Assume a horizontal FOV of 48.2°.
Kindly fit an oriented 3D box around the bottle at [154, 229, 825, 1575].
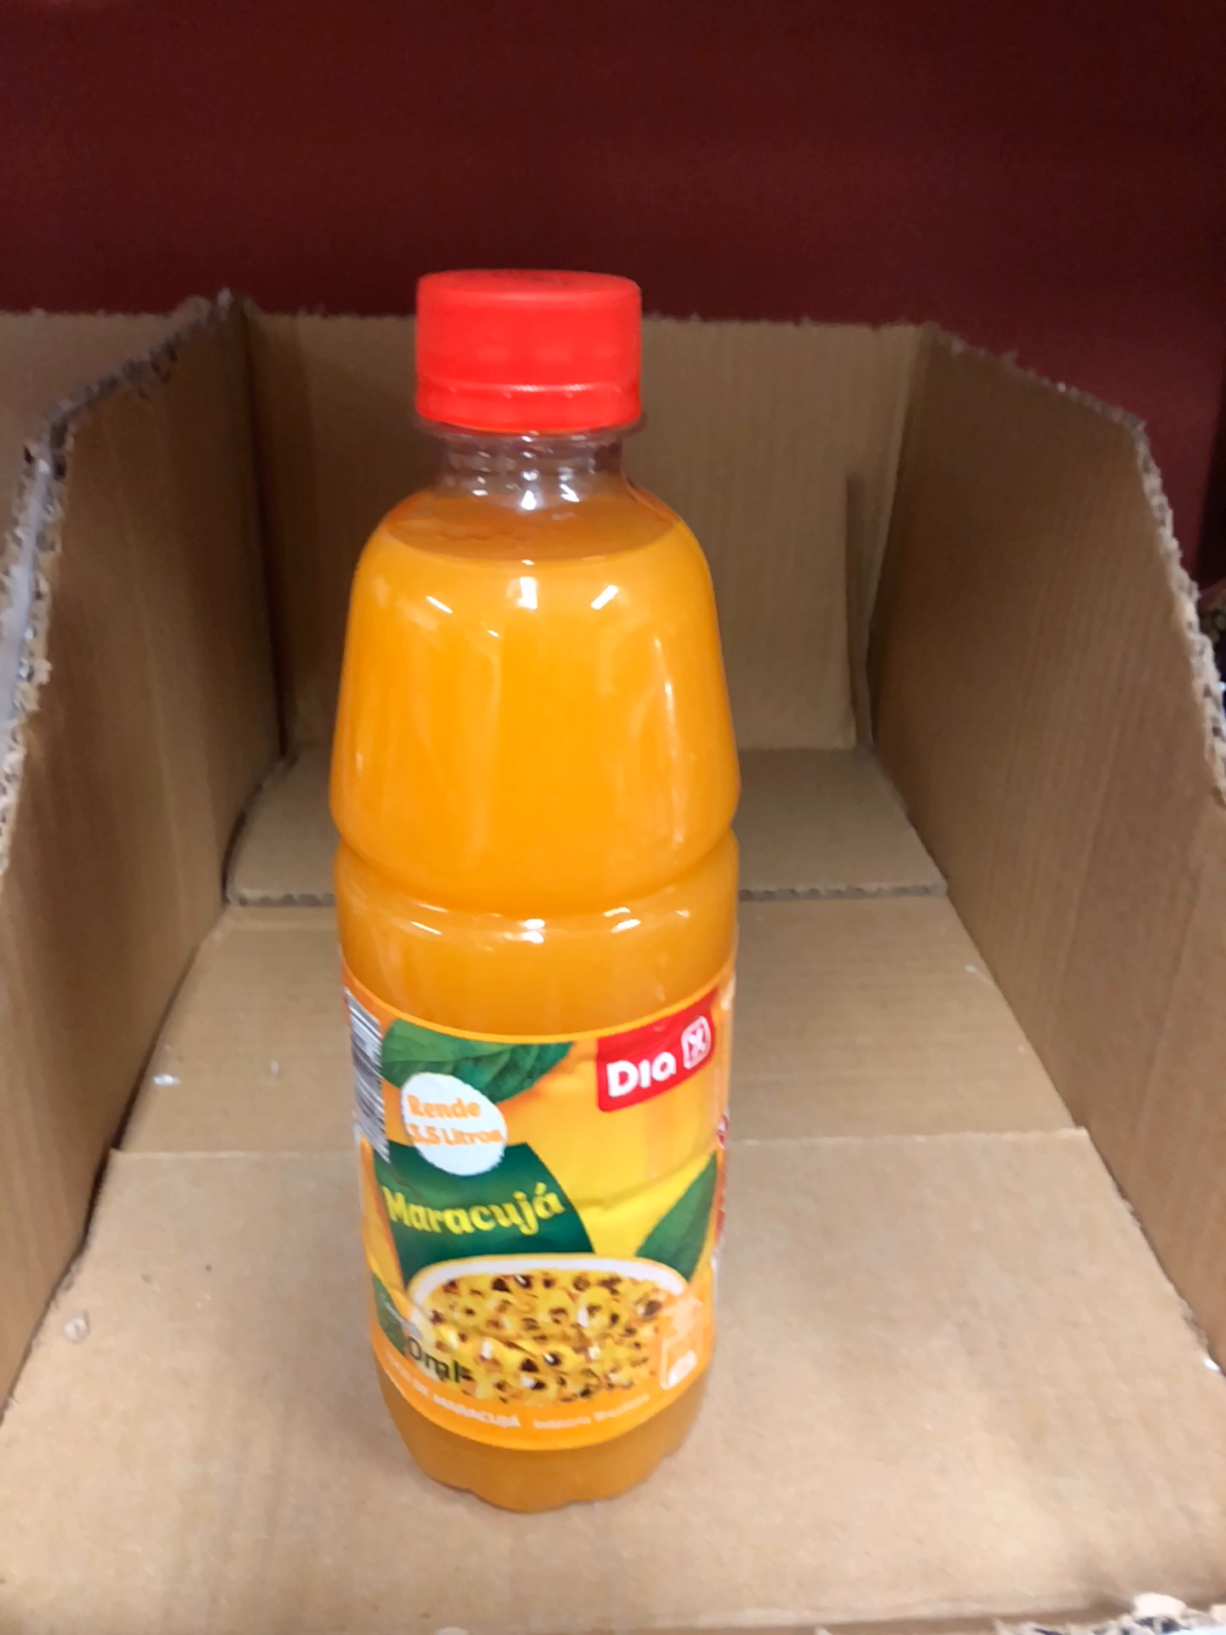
[{"bbox_3d":[-0.010,0.018,0.217,0.070,0.199,0.070,1,27,0],"label":"bottle"}]
